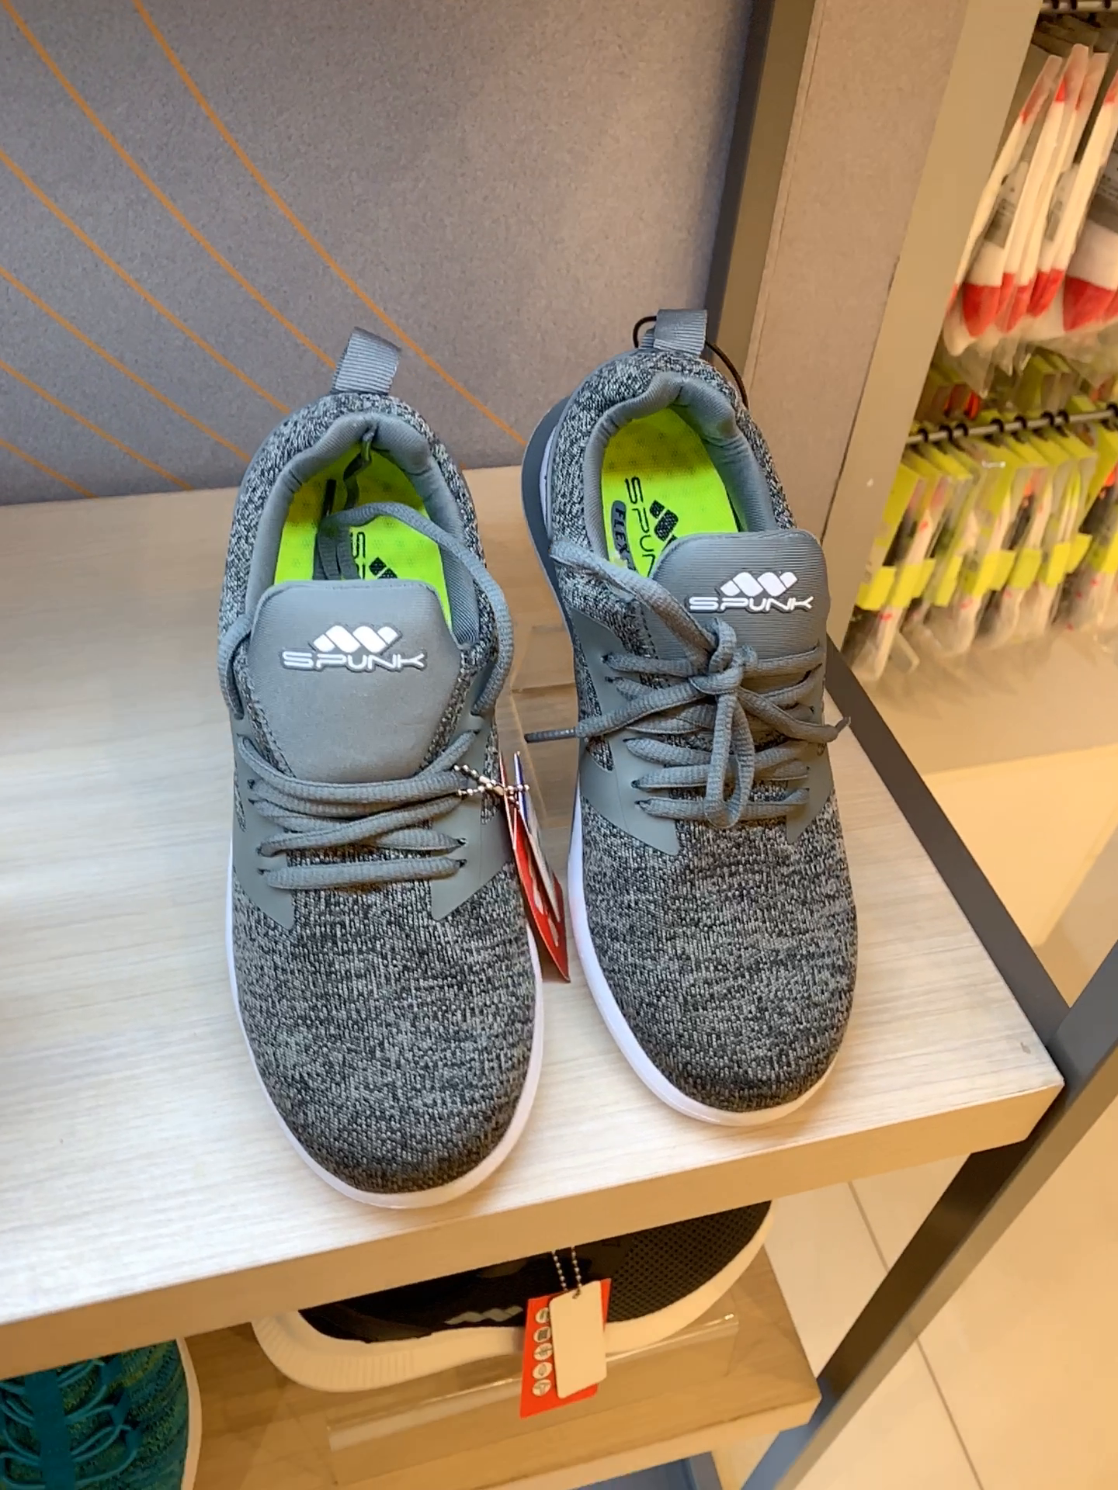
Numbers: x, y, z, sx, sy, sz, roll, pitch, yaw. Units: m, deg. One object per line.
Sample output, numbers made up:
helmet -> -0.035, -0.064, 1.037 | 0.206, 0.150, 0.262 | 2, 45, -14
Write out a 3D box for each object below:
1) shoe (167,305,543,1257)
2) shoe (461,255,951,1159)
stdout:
shoe -> -0.060, 0.005, 0.332 | 0.080, 0.080, 0.241 | -4, 78, -9
shoe -> 0.036, -0.015, 0.350 | 0.090, 0.080, 0.240 | -6, 83, -13
